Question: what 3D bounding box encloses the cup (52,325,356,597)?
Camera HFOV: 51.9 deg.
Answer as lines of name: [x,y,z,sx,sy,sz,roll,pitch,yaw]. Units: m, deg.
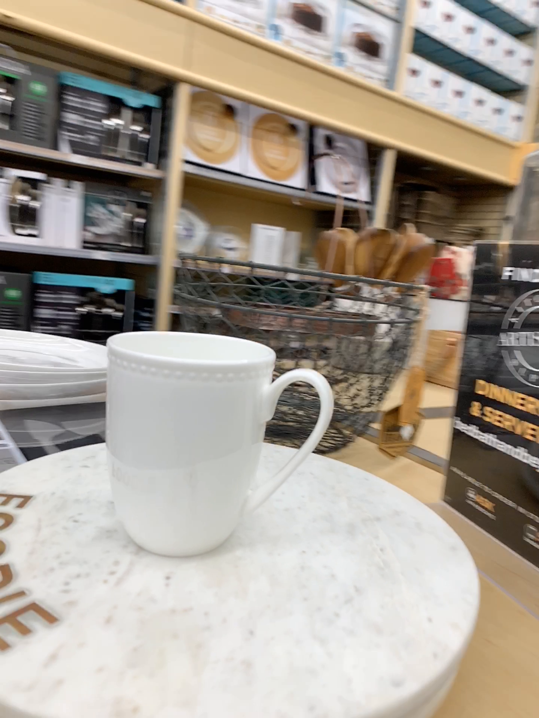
cup: [-0.028,0.041,0.292,0.125,0.094,0.096,9,9,12]
